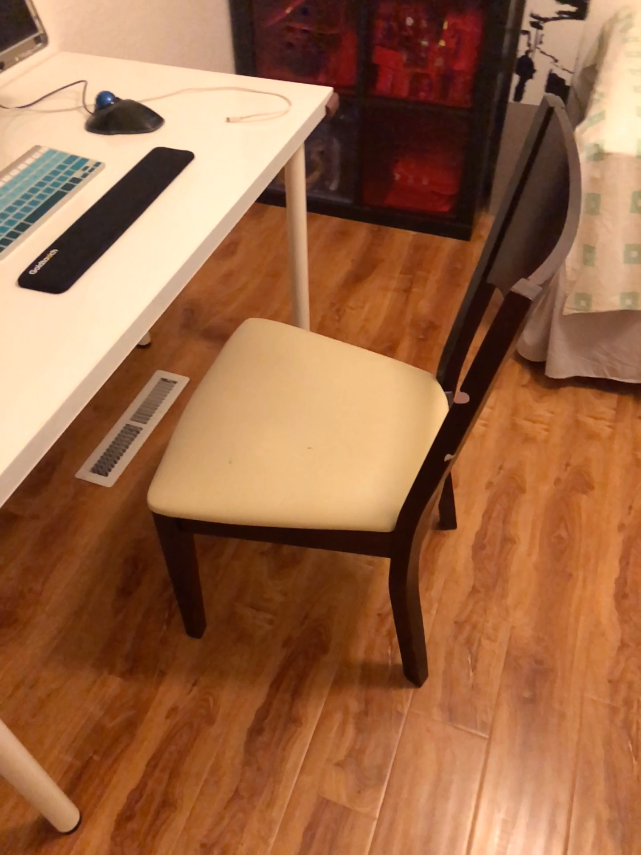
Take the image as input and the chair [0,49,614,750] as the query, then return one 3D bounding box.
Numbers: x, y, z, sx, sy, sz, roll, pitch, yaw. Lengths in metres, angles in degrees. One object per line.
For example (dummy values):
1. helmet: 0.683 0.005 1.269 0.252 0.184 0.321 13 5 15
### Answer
1. chair: 0.007 -0.021 1.152 0.660 0.885 0.573 12 47 13
